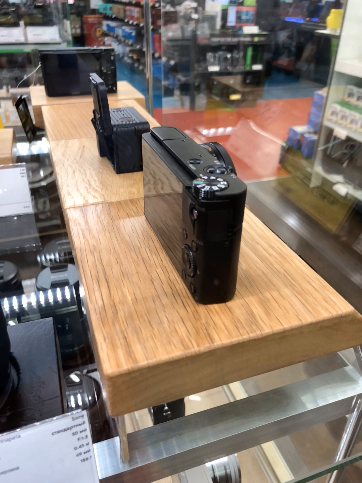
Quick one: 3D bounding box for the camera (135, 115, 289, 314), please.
[{"bbox_3d":[0.008,-0.022,0.219,0.037,0.062,0.106,-10,33,-18],"label":"camera"}]
